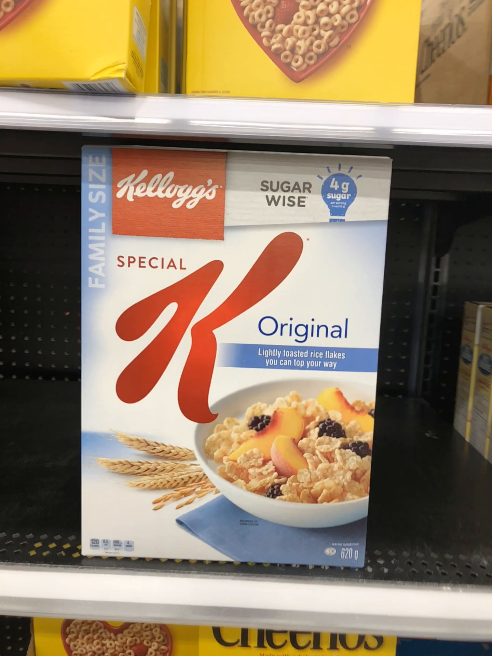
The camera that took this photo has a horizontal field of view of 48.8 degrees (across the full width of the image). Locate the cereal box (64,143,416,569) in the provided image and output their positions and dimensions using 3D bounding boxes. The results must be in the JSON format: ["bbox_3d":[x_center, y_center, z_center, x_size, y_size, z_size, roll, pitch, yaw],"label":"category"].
[{"bbox_3d":[-0.011,0.025,0.465,0.260,0.329,0.080,2,9,0],"label":"cereal box"}]
